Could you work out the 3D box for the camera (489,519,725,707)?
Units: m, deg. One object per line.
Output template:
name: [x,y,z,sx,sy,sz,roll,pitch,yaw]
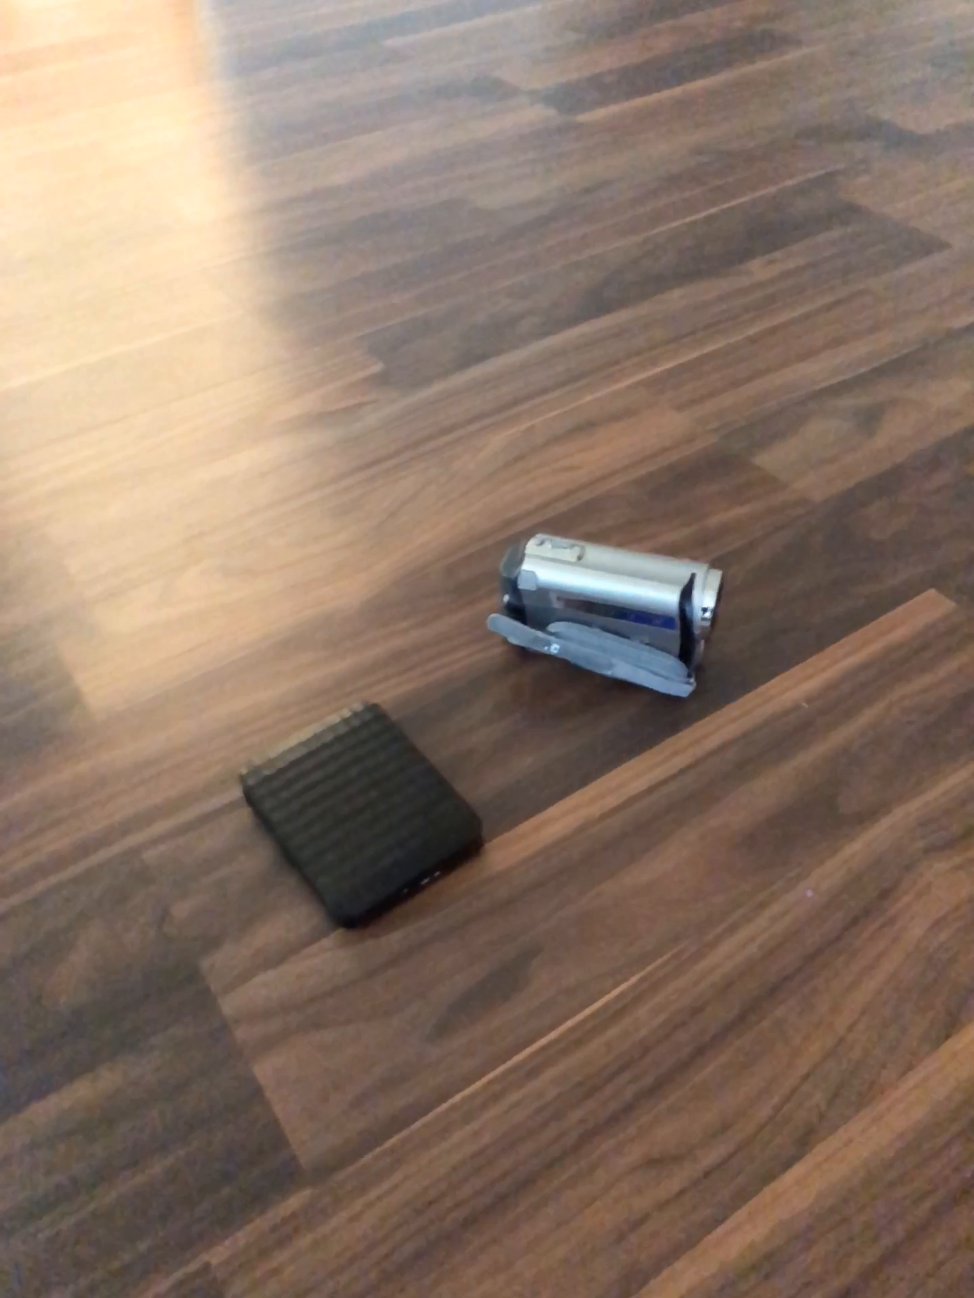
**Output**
camera: [0.064,-0.020,0.588,0.115,0.065,0.048,13,46,16]
